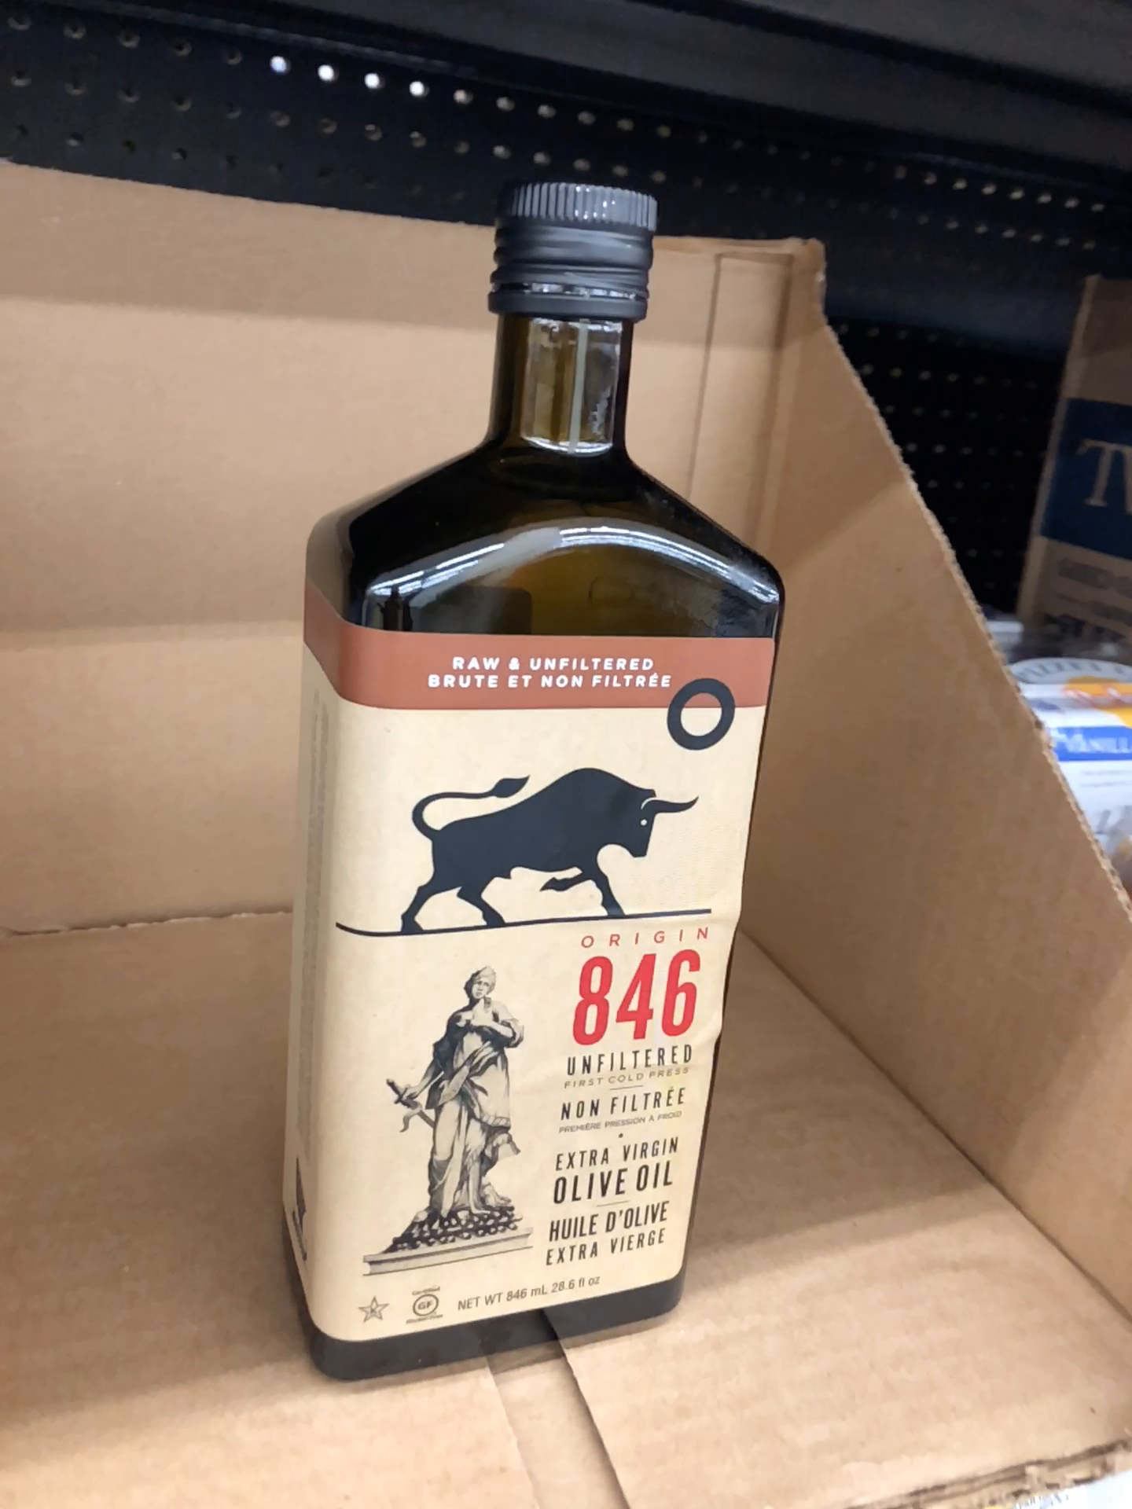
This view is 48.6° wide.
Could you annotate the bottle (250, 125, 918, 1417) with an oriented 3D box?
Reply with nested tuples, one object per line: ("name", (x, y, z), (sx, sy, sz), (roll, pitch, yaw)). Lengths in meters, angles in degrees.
("bottle", (-0.009, 0.012, 0.271), (0.100, 0.249, 0.060), (-1, 20, -23))
